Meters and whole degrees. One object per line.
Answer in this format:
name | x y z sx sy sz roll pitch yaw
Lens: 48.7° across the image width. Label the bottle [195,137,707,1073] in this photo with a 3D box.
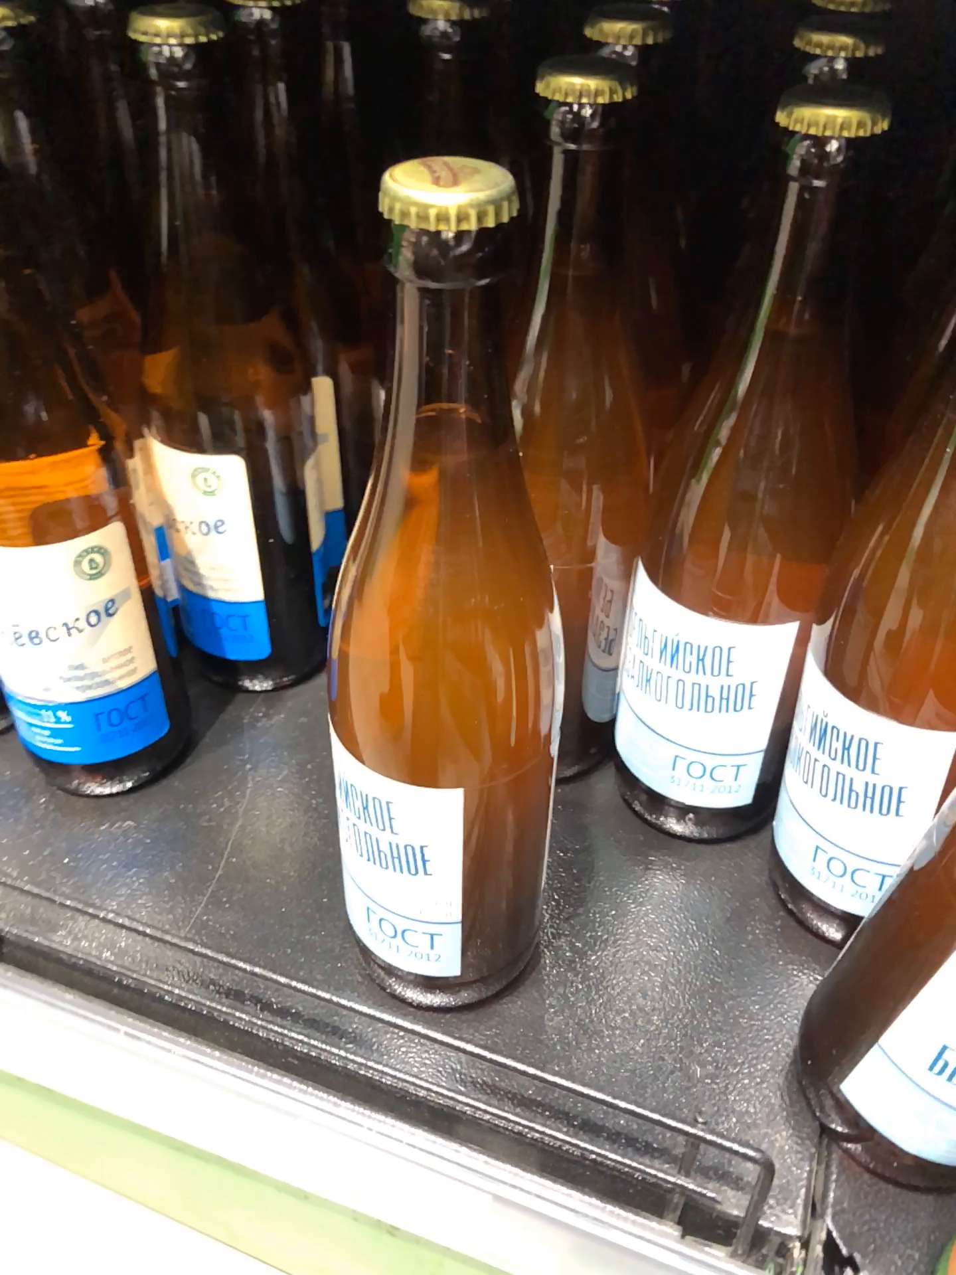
bottle | -0.012 0.008 0.301 0.080 0.254 0.080 1 40 -1
